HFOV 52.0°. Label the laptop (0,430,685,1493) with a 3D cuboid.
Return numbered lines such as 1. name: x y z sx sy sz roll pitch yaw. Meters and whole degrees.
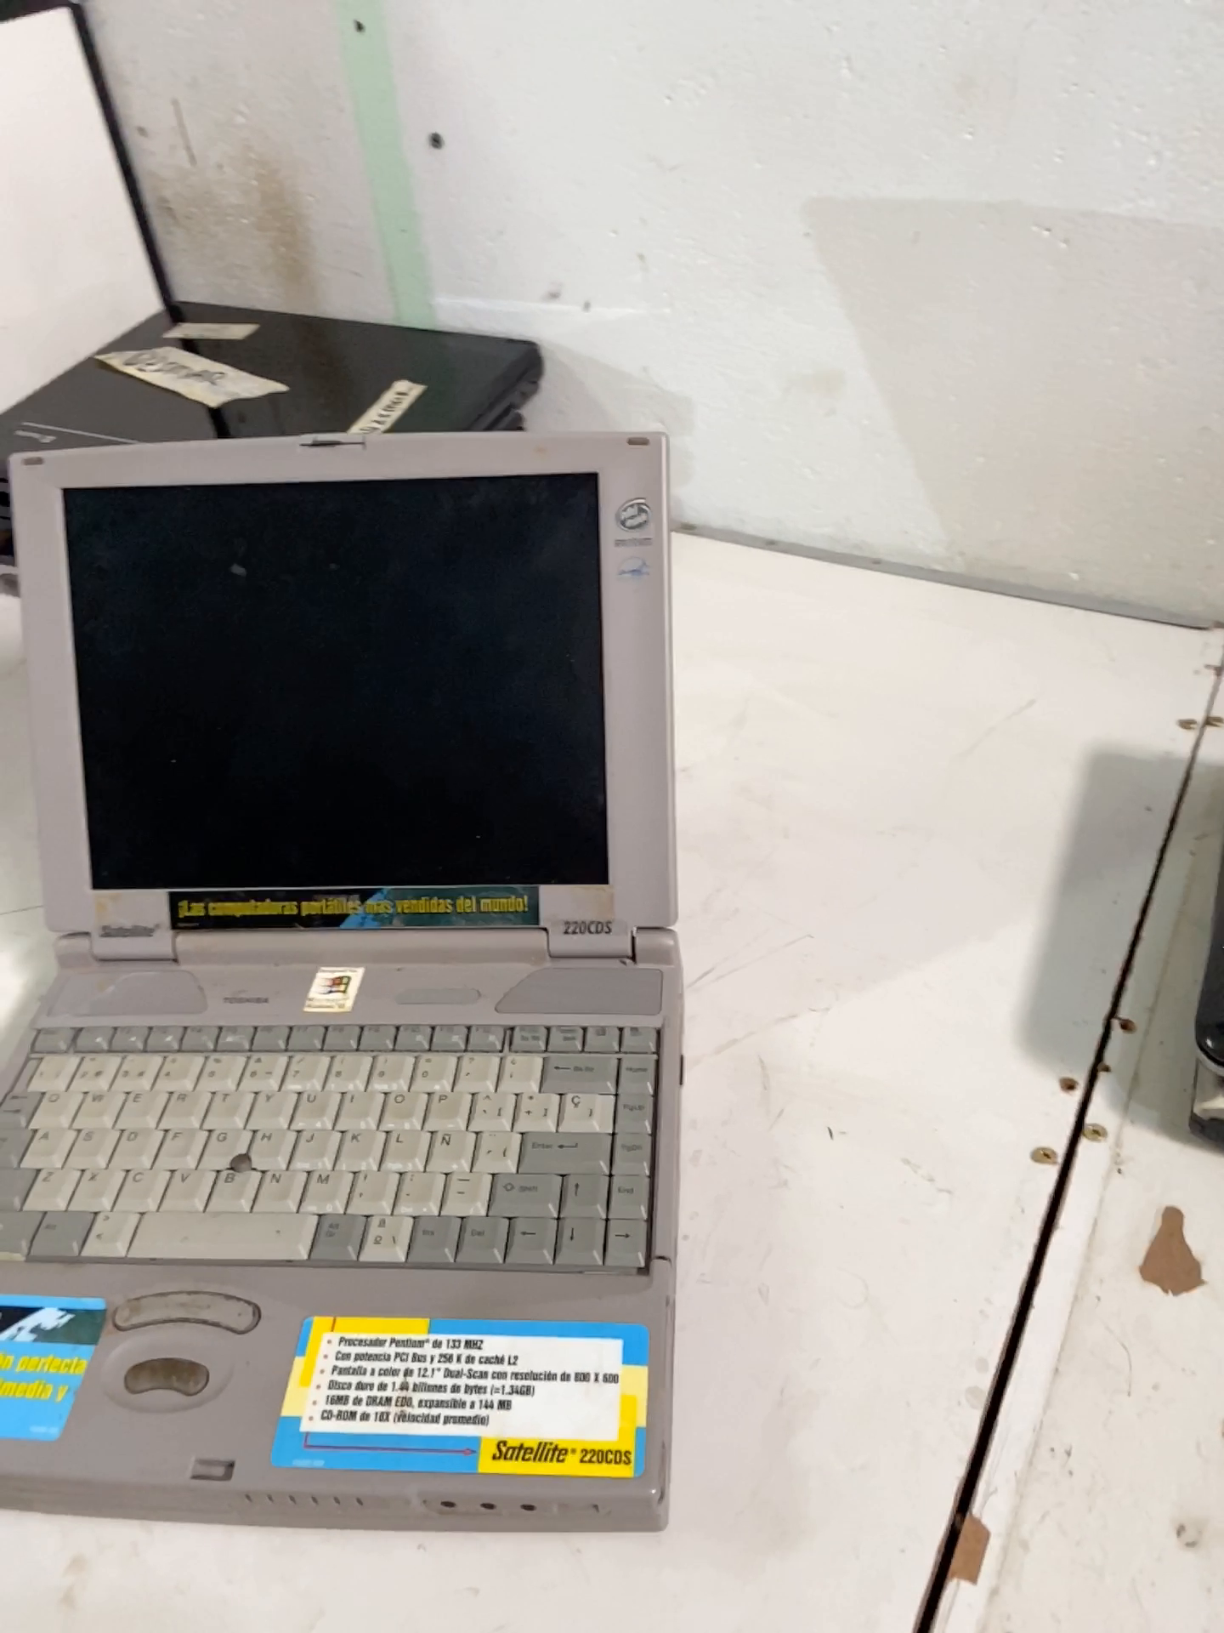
1. laptop: -0.132 0.027 0.496 0.301 0.195 0.359 -1 42 7
